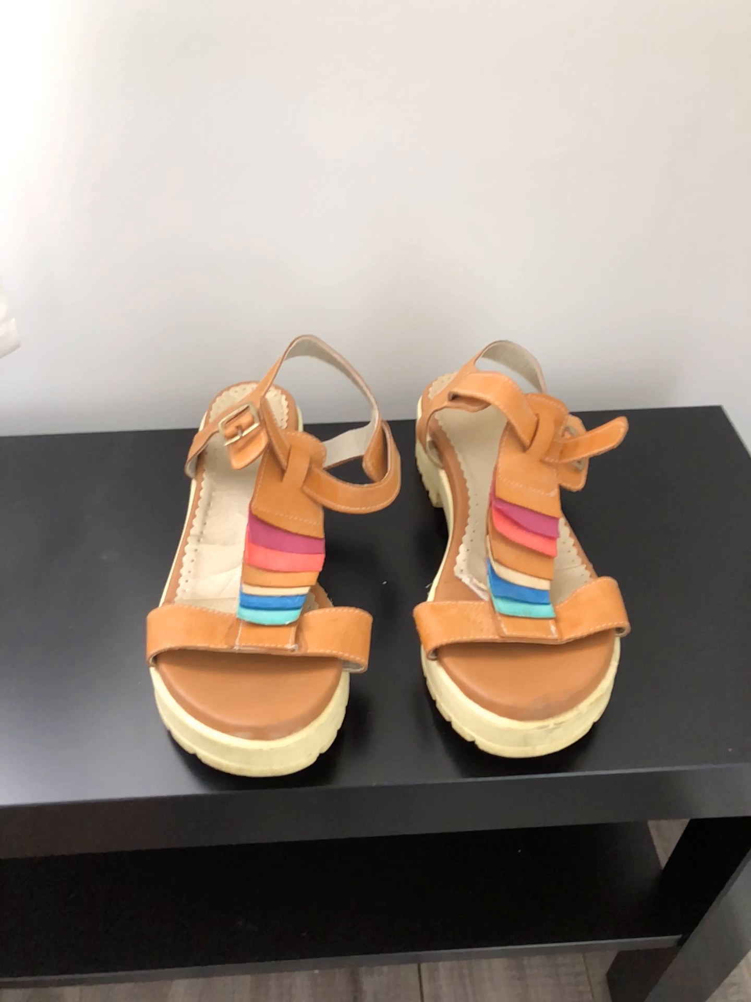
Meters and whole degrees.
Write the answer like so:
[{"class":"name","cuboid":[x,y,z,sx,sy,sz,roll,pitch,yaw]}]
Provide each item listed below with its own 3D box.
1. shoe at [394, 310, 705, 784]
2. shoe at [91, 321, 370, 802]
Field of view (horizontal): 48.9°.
[{"class":"shoe","cuboid":[0.065,0.005,0.411,0.100,0.077,0.248,-1,44,-1]},{"class":"shoe","cuboid":[-0.056,0.013,0.417,0.100,0.083,0.248,-1,44,-1]}]
